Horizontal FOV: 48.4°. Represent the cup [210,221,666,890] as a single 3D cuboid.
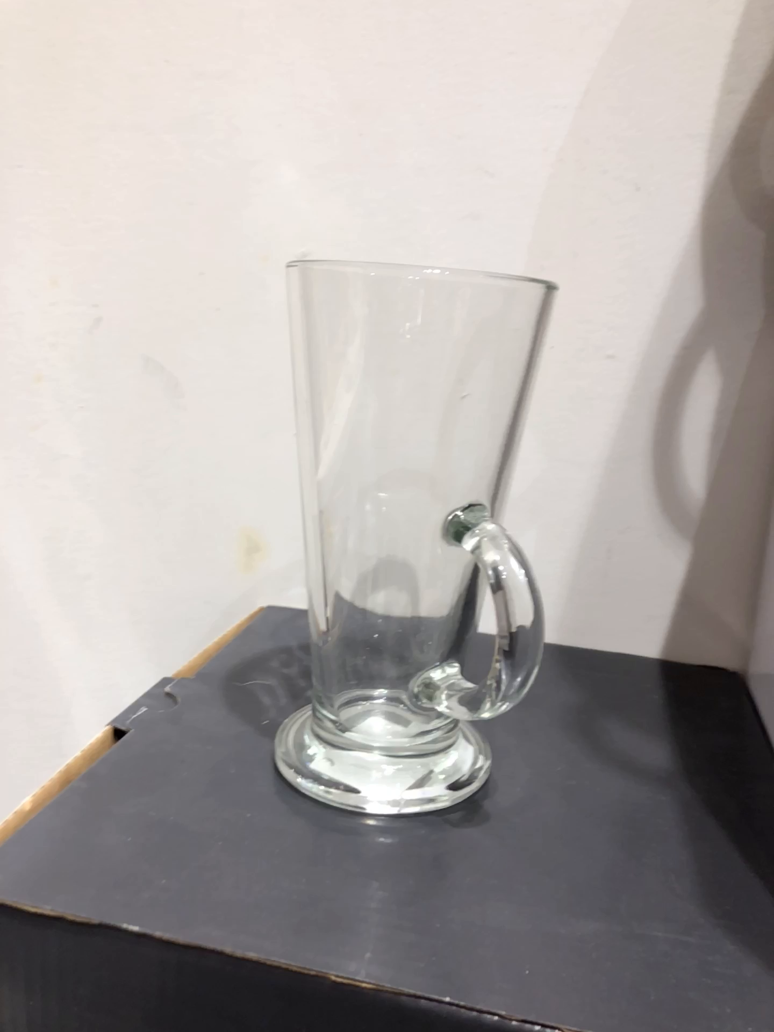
[{"bbox_3d":[0.006,0.001,0.243,0.080,0.149,0.090,-6,17,-34],"label":"cup"}]
